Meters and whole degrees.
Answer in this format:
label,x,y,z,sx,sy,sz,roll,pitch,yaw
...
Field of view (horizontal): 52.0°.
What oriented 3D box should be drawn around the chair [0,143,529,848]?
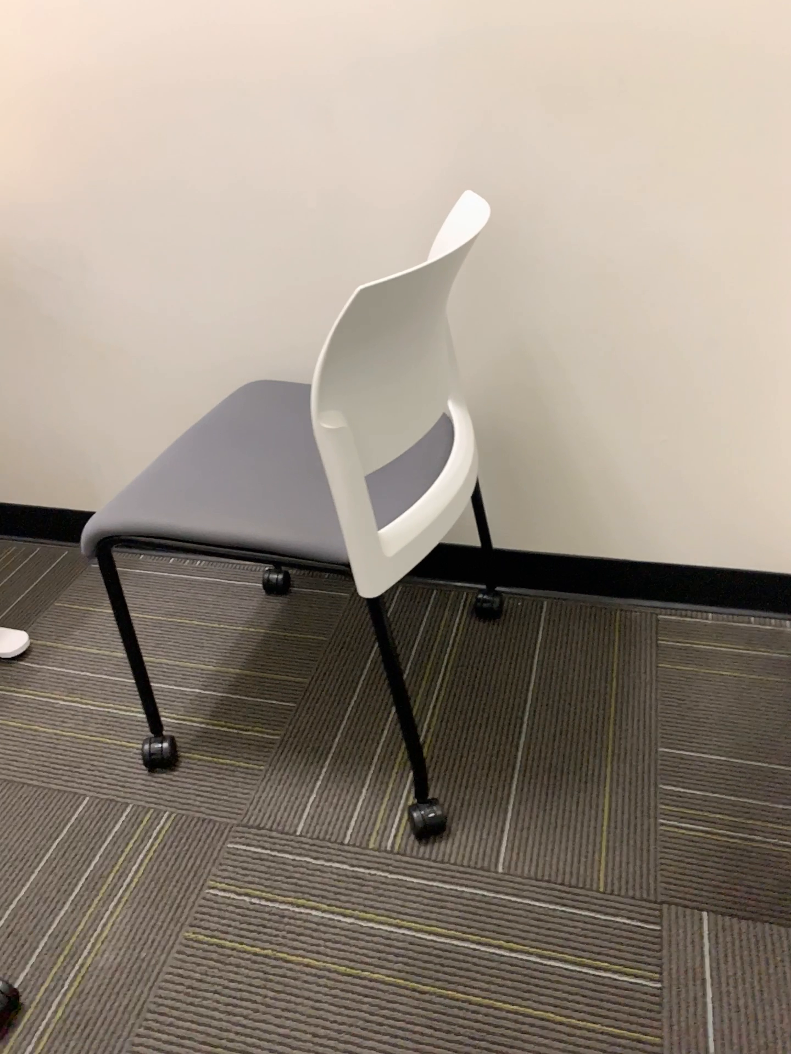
label,x,y,z,sx,sy,sz,roll,pitch,yaw
chair,-0.125,-0.083,1.220,0.541,0.805,0.603,6,34,15
